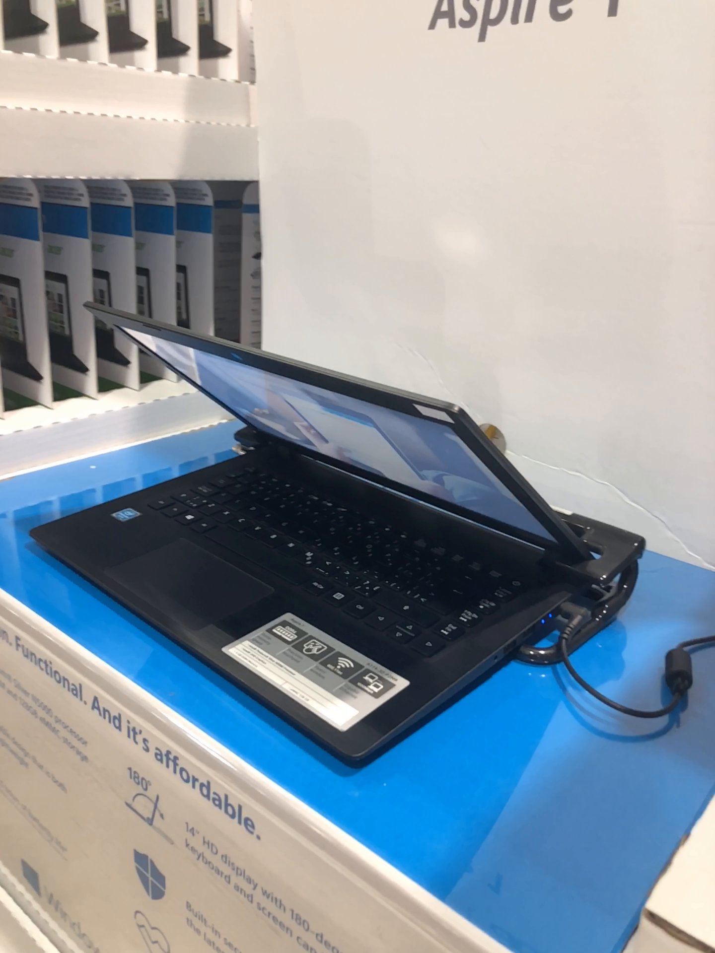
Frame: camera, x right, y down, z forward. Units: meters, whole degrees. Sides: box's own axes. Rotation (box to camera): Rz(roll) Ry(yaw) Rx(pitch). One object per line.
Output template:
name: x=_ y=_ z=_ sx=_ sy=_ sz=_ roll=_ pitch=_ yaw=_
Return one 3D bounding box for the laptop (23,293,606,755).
laptop: x=-0.046 y=-0.012 z=0.530 sx=0.334 sy=0.145 sz=0.206 roll=21 pitch=31 yaw=40
